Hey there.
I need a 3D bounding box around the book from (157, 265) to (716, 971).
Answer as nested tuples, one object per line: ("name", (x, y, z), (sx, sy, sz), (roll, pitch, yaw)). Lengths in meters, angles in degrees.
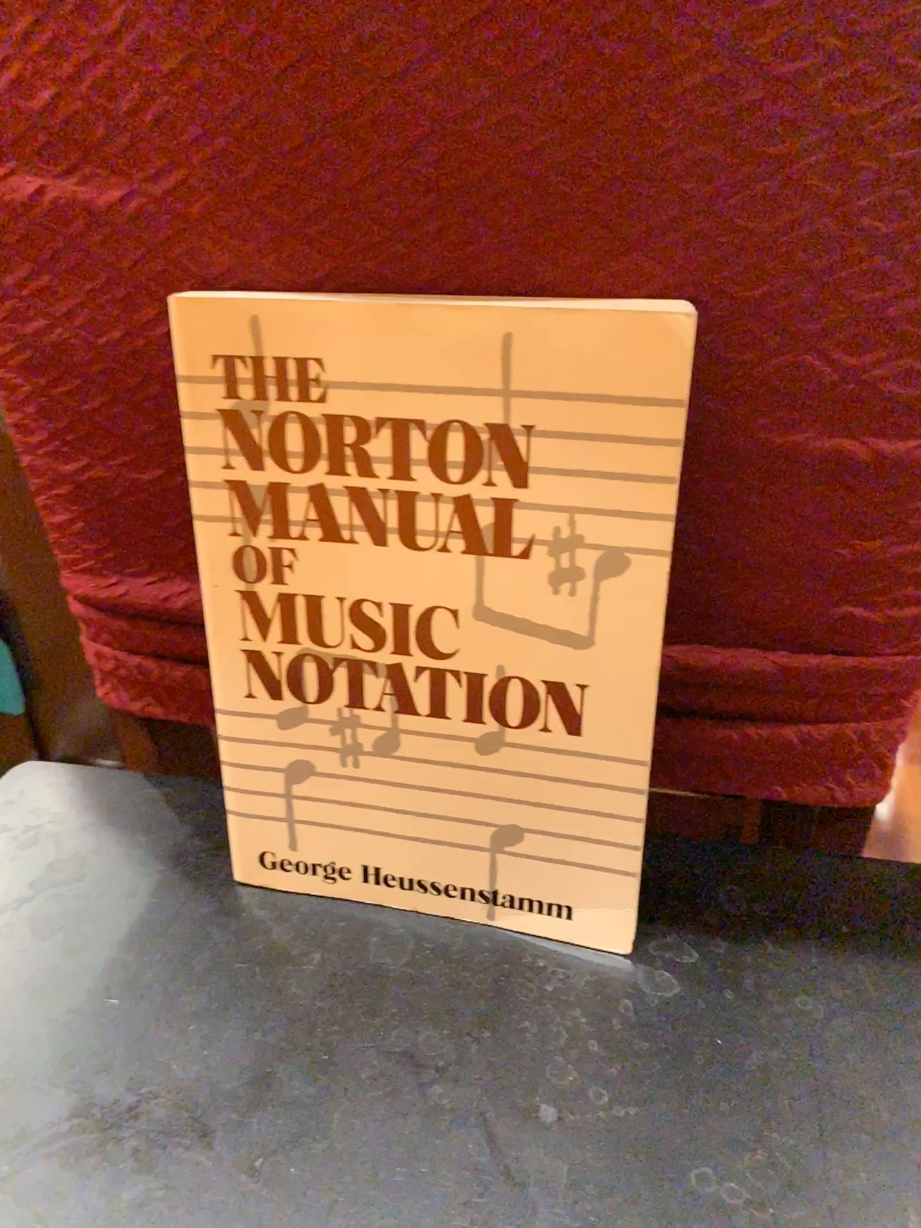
("book", (-0.010, 0.008, 0.360), (0.180, 0.259, 0.030), (6, 24, 13))
